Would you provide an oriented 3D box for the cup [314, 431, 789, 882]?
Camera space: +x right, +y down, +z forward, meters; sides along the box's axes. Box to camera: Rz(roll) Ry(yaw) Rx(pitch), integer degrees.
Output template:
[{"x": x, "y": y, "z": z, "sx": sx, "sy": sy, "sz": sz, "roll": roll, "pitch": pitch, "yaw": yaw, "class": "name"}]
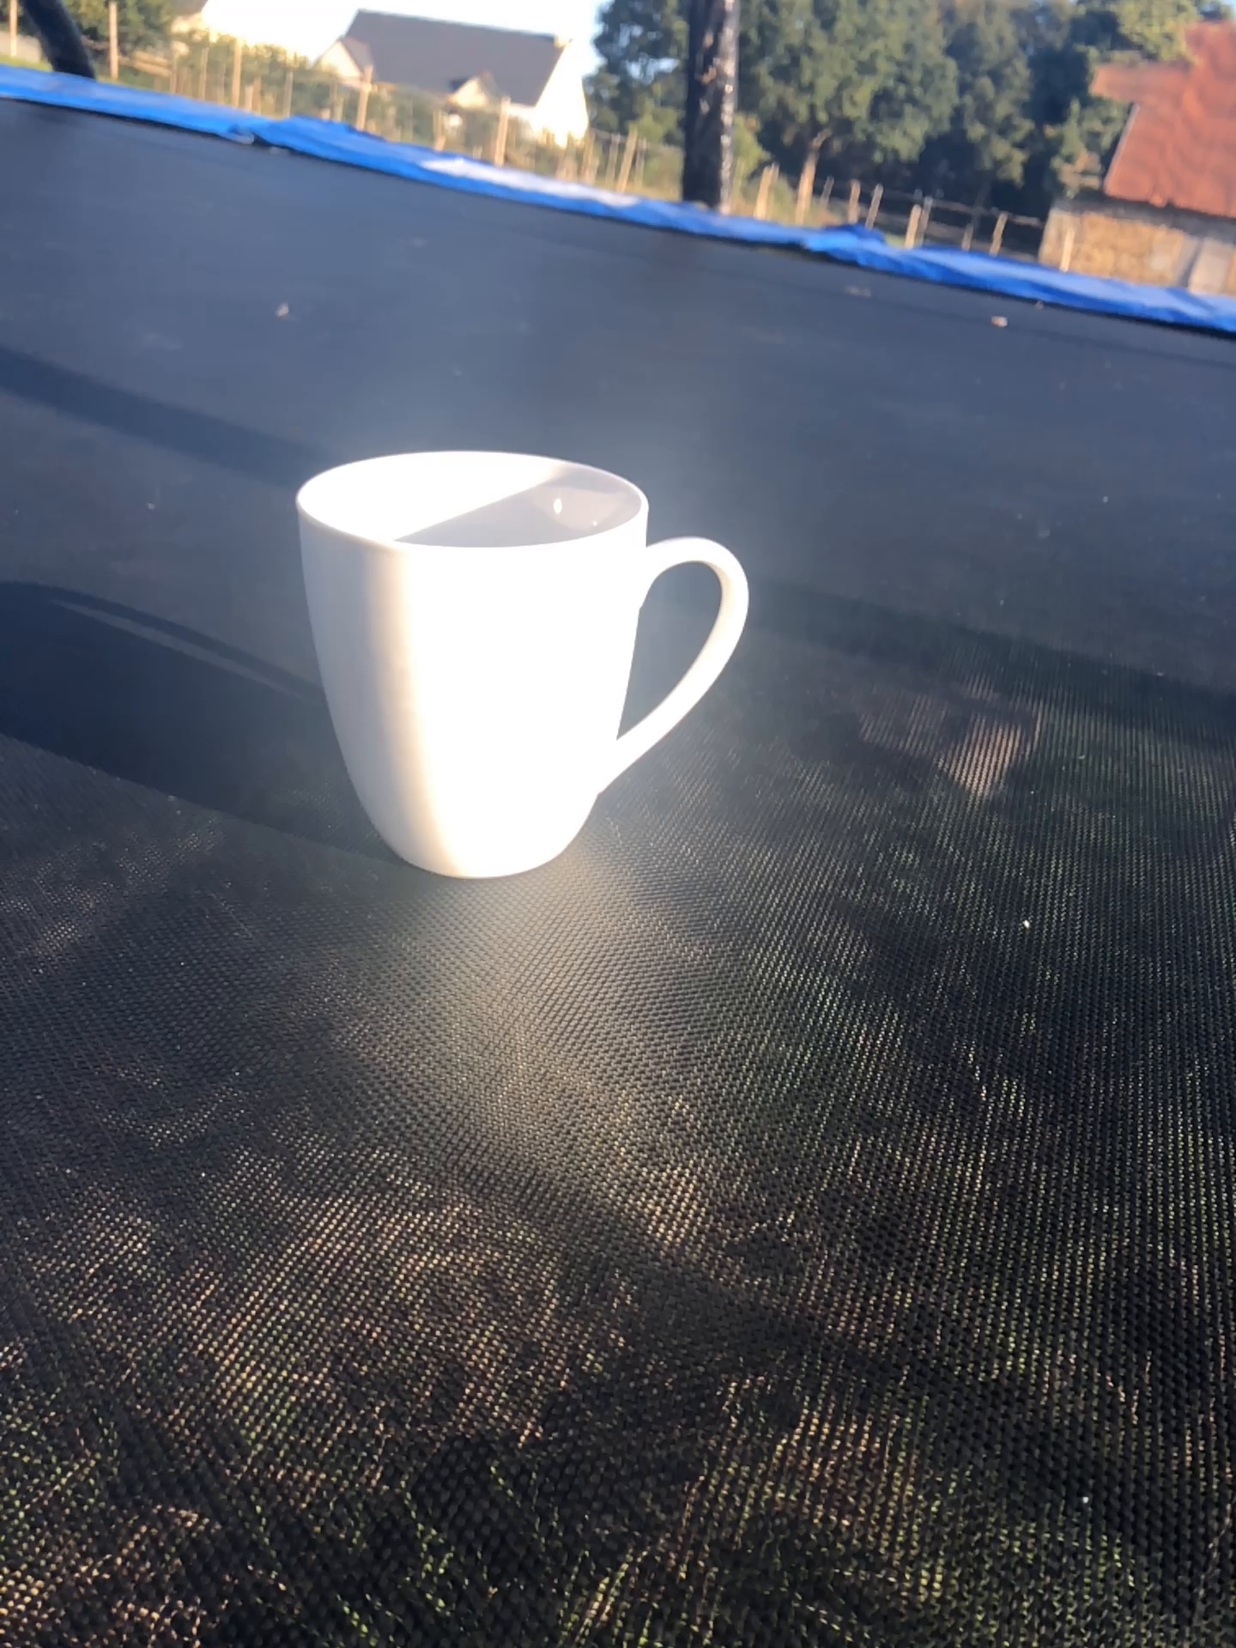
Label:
[{"x": -0.026, "y": -0.051, "z": 0.384, "sx": 0.110, "sy": 0.089, "sz": 0.100, "roll": 4, "pitch": 29, "yaw": -2, "class": "cup"}]
